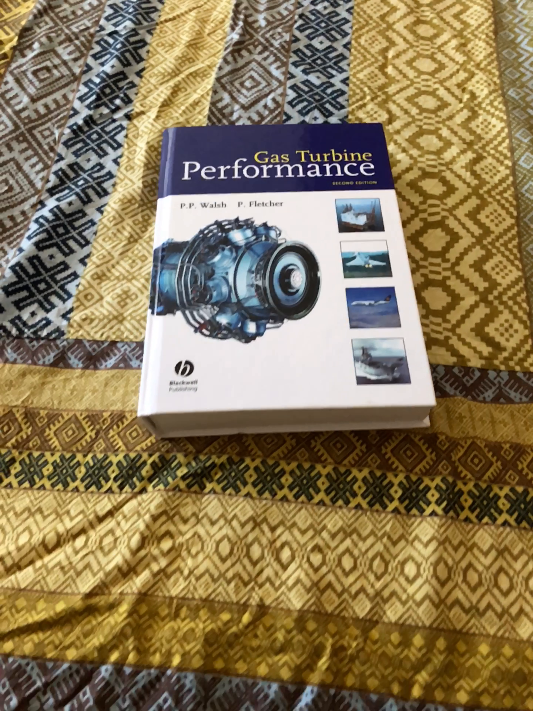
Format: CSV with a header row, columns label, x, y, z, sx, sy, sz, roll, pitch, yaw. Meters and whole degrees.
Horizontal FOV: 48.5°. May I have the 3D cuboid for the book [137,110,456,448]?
label,x,y,z,sx,sy,sz,roll,pitch,yaw
book,0.013,-0.072,0.451,0.192,0.060,0.273,-2,59,-2
